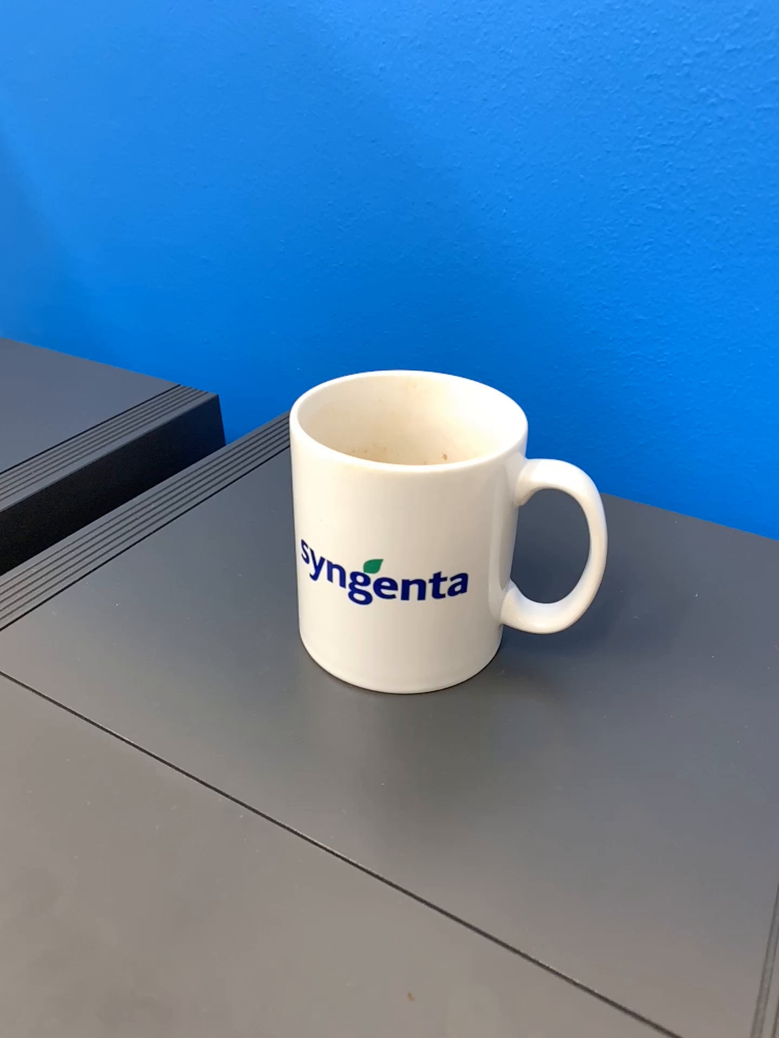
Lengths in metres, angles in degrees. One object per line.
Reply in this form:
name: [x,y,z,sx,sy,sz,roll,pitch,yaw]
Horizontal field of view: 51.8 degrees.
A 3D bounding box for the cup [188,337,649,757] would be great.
cup: [0.014,0.003,0.287,0.131,0.094,0.089,11,33,14]
